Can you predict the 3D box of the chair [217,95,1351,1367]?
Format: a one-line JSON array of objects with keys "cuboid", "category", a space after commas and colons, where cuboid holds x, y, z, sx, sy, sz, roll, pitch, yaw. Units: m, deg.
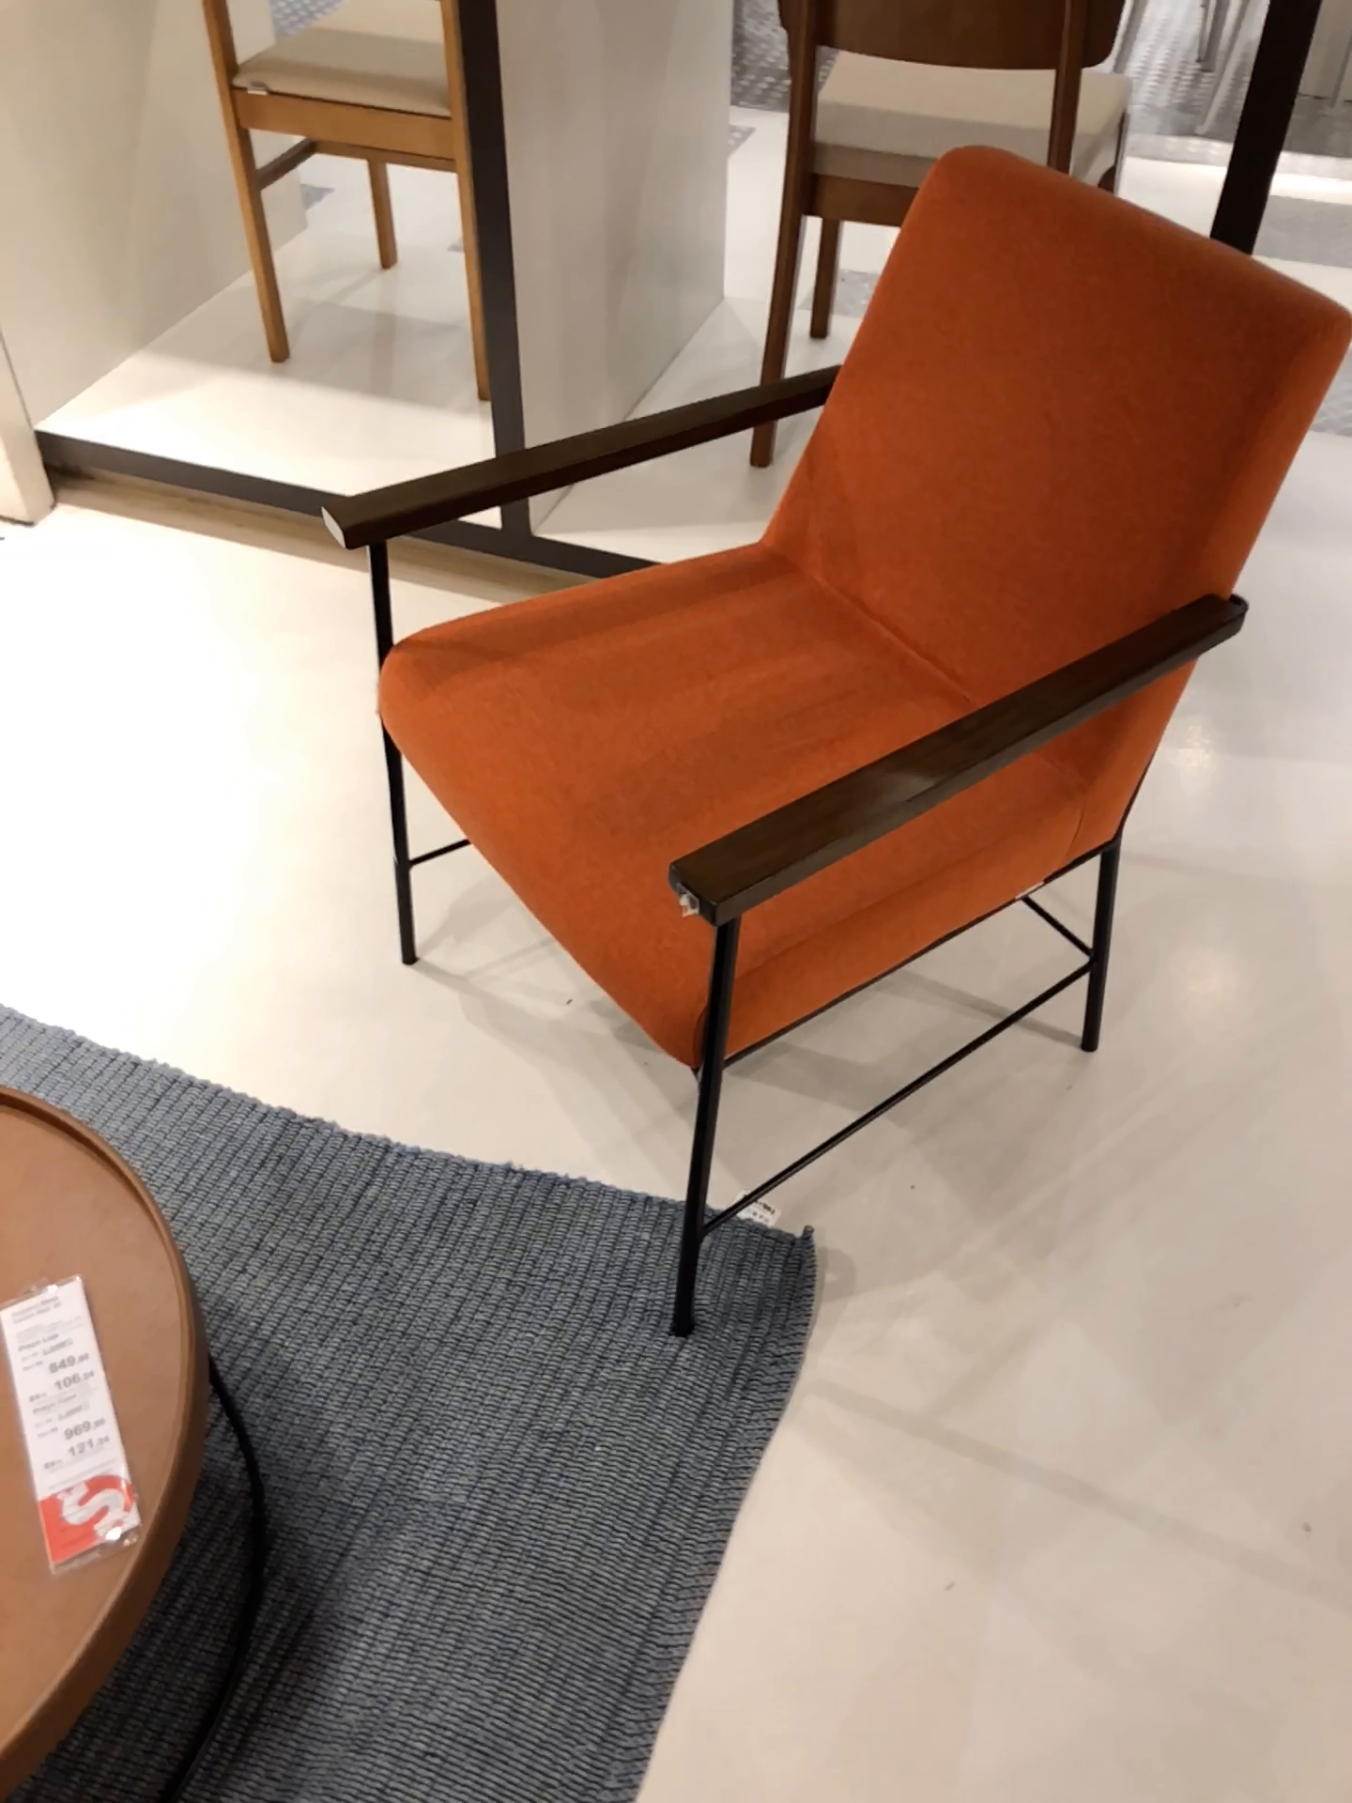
[{"cuboid": [0.099, -0.183, 1.442, 0.702, 0.824, 0.653, -25, 50, -23], "category": "chair"}]
